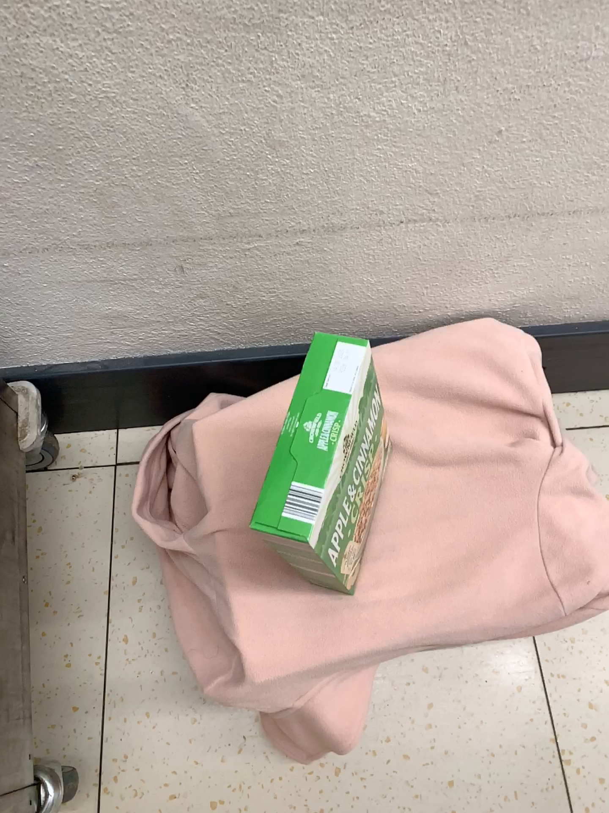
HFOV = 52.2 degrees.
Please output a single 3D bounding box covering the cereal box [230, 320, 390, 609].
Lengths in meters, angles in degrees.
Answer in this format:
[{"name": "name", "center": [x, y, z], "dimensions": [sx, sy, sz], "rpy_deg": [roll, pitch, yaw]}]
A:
[{"name": "cereal box", "center": [0.023, 0.072, 0.596], "dimensions": [0.060, 0.259, 0.191], "rpy_deg": [12, 67, 16]}]
